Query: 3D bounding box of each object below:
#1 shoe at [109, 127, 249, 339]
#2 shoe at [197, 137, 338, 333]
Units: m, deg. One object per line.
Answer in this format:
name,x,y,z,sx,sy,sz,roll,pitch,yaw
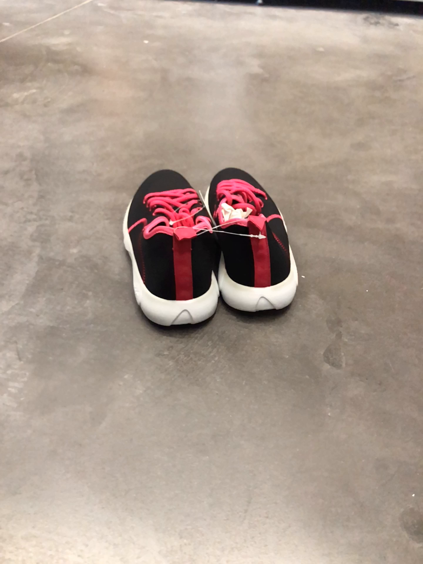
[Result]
shoe,-0.043,-0.064,0.467,0.100,0.089,0.231,-6,40,-9
shoe,0.042,-0.064,0.495,0.100,0.089,0.231,-2,40,-5
